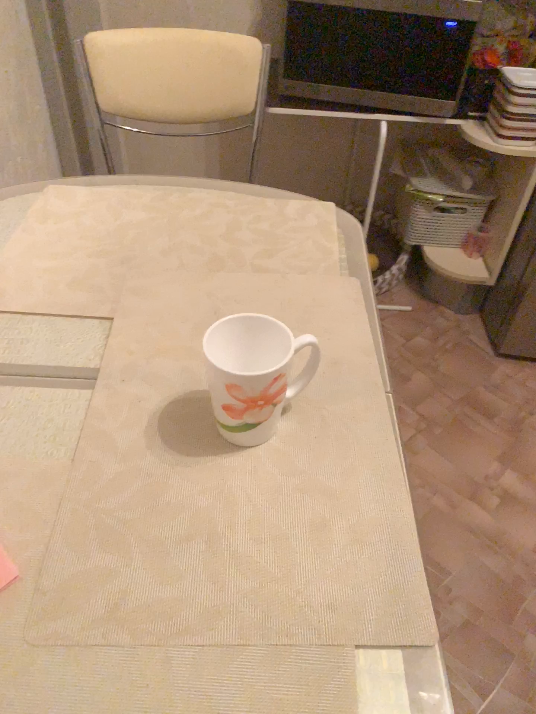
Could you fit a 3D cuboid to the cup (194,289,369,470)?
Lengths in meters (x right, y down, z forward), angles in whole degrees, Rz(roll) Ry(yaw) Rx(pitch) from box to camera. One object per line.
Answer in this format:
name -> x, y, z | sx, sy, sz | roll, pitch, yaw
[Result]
cup -> 0.008, 0.018, 0.482 | 0.119, 0.099, 0.084 | -17, 48, -20
